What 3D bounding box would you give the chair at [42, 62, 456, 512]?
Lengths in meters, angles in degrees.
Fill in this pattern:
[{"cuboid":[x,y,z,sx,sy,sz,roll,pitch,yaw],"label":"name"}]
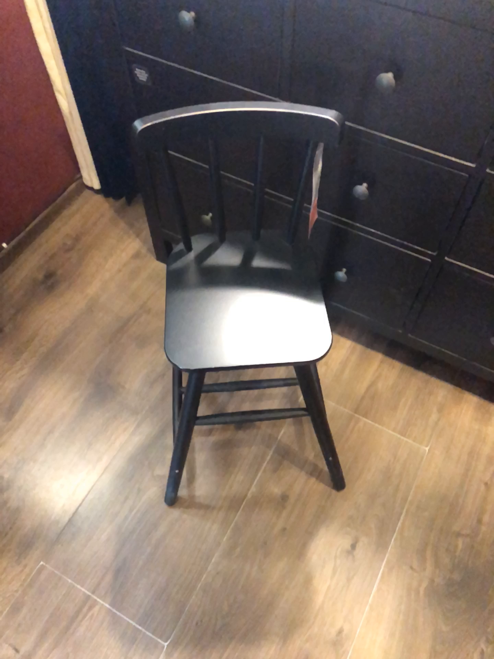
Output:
[{"cuboid":[-0.011,-0.011,1.018,0.450,0.716,0.472,-5,58,-2],"label":"chair"}]
